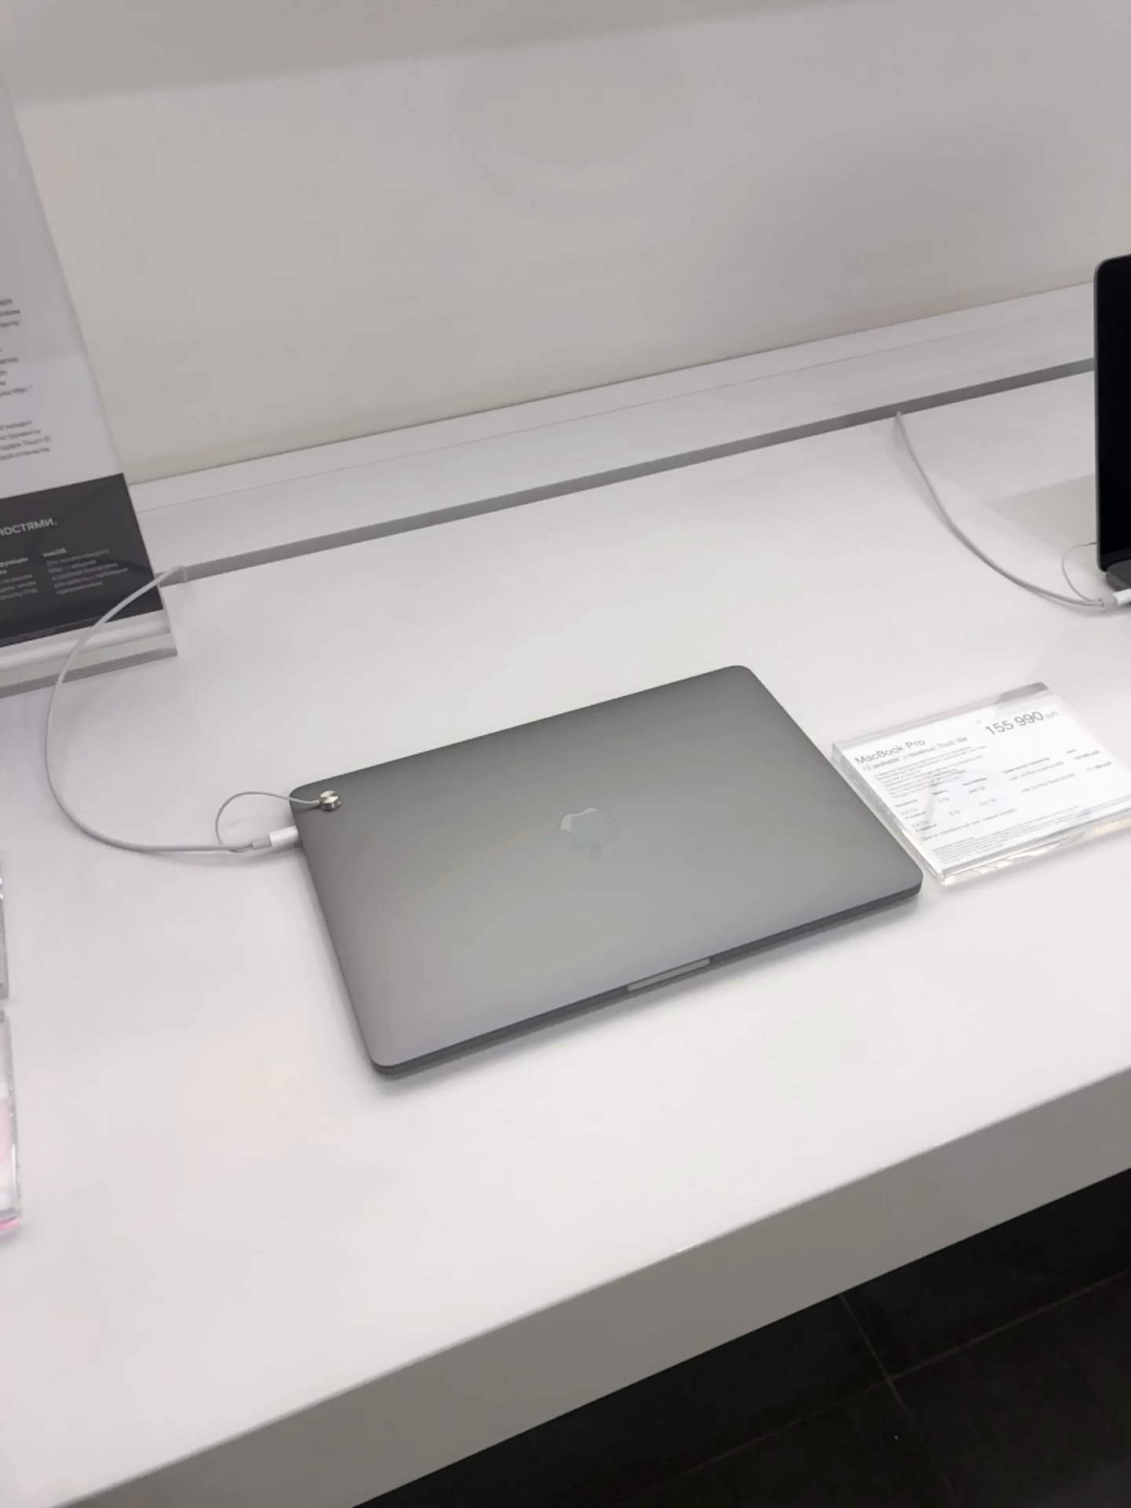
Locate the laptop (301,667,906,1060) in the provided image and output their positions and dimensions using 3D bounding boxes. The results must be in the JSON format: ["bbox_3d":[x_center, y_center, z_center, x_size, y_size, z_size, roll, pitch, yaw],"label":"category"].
[{"bbox_3d":[0.011,0.045,0.688,0.279,0.001,0.203,-17,43,-13],"label":"laptop"}]

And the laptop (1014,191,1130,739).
[{"bbox_3d":[0.528,-0.202,0.797,0.309,0.187,0.277,-17,44,-18],"label":"laptop"}]
